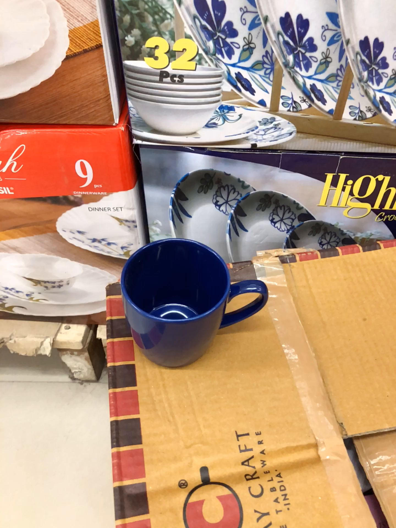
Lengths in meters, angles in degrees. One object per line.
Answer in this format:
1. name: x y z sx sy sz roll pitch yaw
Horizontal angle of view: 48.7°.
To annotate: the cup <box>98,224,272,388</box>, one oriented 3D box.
1. cup: -0.011 0.029 0.303 0.100 0.080 0.070 -5 47 -4
